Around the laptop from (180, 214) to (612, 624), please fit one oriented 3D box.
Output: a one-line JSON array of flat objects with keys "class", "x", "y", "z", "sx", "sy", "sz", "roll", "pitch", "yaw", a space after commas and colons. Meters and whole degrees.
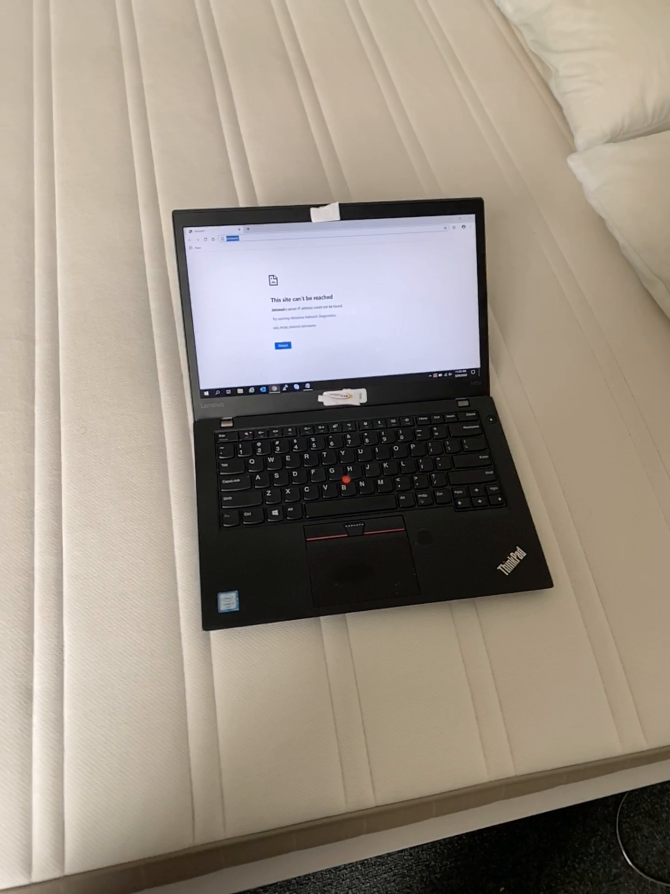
[{"class": "laptop", "x": 0.027, "y": -0.050, "z": 0.665, "sx": 0.320, "sy": 0.120, "sz": 0.382, "roll": -4, "pitch": 58, "yaw": -10}]
